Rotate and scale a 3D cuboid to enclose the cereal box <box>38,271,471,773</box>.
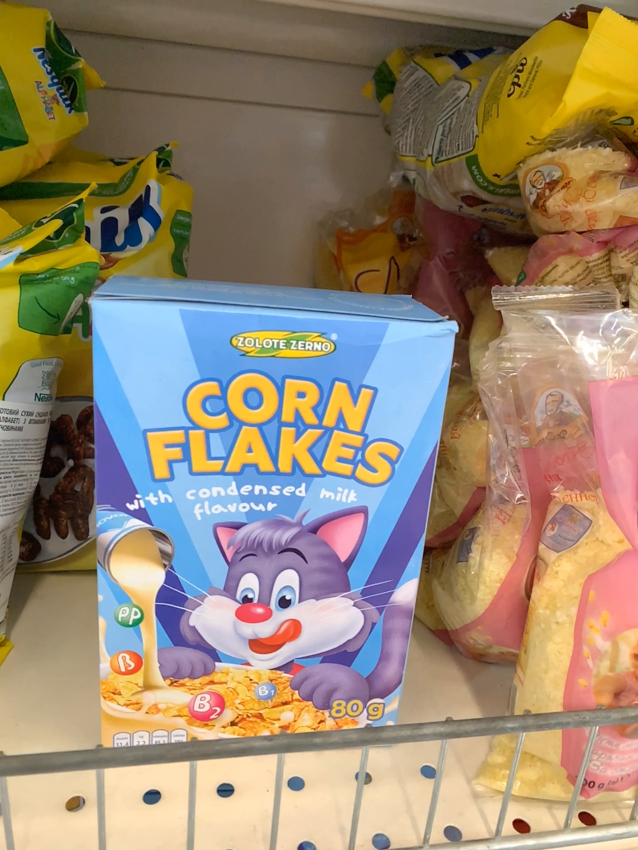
[{"bbox_3d":[-0.024,0.034,0.232,0.120,0.159,0.050,1,19,-11],"label":"cereal box"}]
